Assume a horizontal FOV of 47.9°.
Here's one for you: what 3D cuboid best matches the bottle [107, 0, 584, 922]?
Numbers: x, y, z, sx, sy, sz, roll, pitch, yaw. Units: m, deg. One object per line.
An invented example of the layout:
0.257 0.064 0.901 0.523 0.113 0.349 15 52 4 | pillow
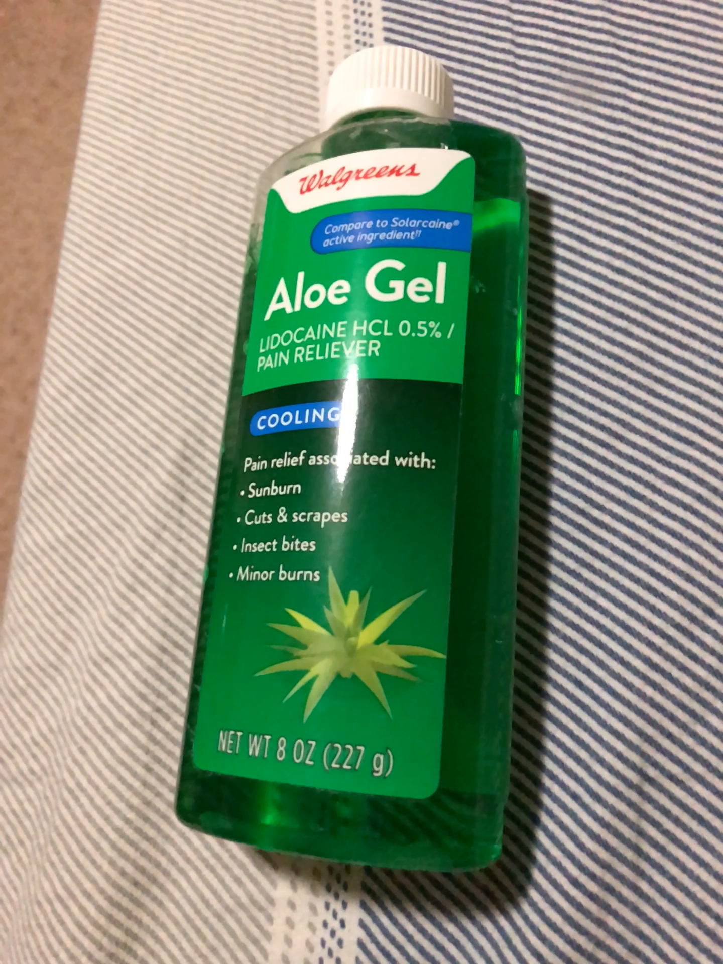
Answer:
0.004 -0.014 0.176 0.080 0.030 0.180 1 74 18 | bottle
